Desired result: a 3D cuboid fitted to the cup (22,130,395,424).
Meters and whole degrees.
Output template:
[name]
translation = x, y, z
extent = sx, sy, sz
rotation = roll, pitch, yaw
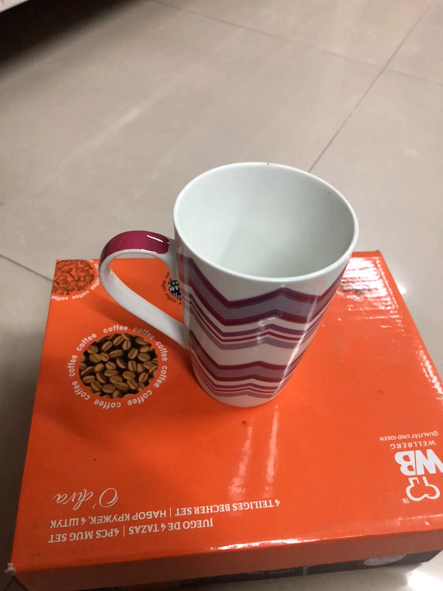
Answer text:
[cup]
translation = -0.007, -0.004, 0.243
extent = 0.130, 0.109, 0.091
rotation = 2, 49, -3
